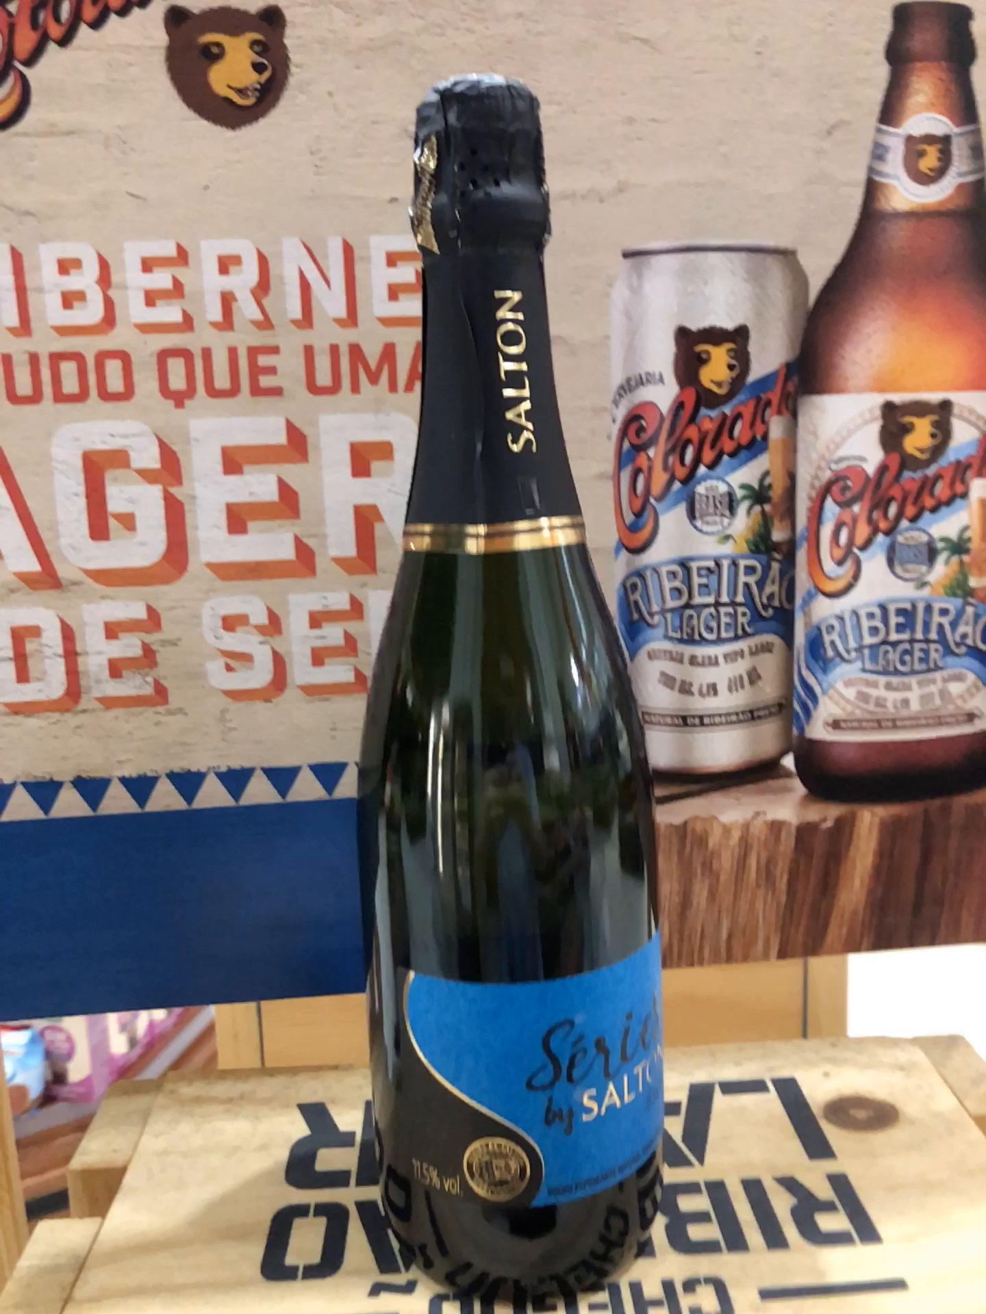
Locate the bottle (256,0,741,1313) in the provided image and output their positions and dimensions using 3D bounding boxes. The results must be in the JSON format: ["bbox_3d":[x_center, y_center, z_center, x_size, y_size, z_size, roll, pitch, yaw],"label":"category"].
[{"bbox_3d":[0.004,0.007,0.294,0.090,0.319,0.080,-7,10,-31],"label":"bottle"}]
